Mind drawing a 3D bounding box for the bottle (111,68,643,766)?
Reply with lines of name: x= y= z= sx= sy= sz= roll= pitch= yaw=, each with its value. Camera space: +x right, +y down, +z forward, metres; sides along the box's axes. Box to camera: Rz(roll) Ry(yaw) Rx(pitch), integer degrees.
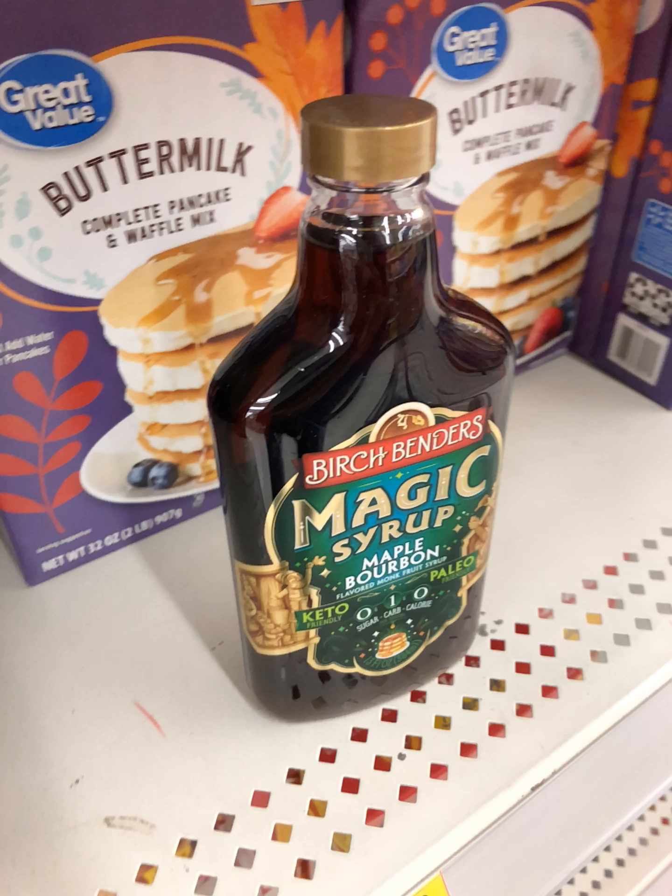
bottle: x=0.009 y=0.001 z=0.213 sx=0.100 sy=0.180 sz=0.050 roll=-16 pitch=40 yaw=-19
